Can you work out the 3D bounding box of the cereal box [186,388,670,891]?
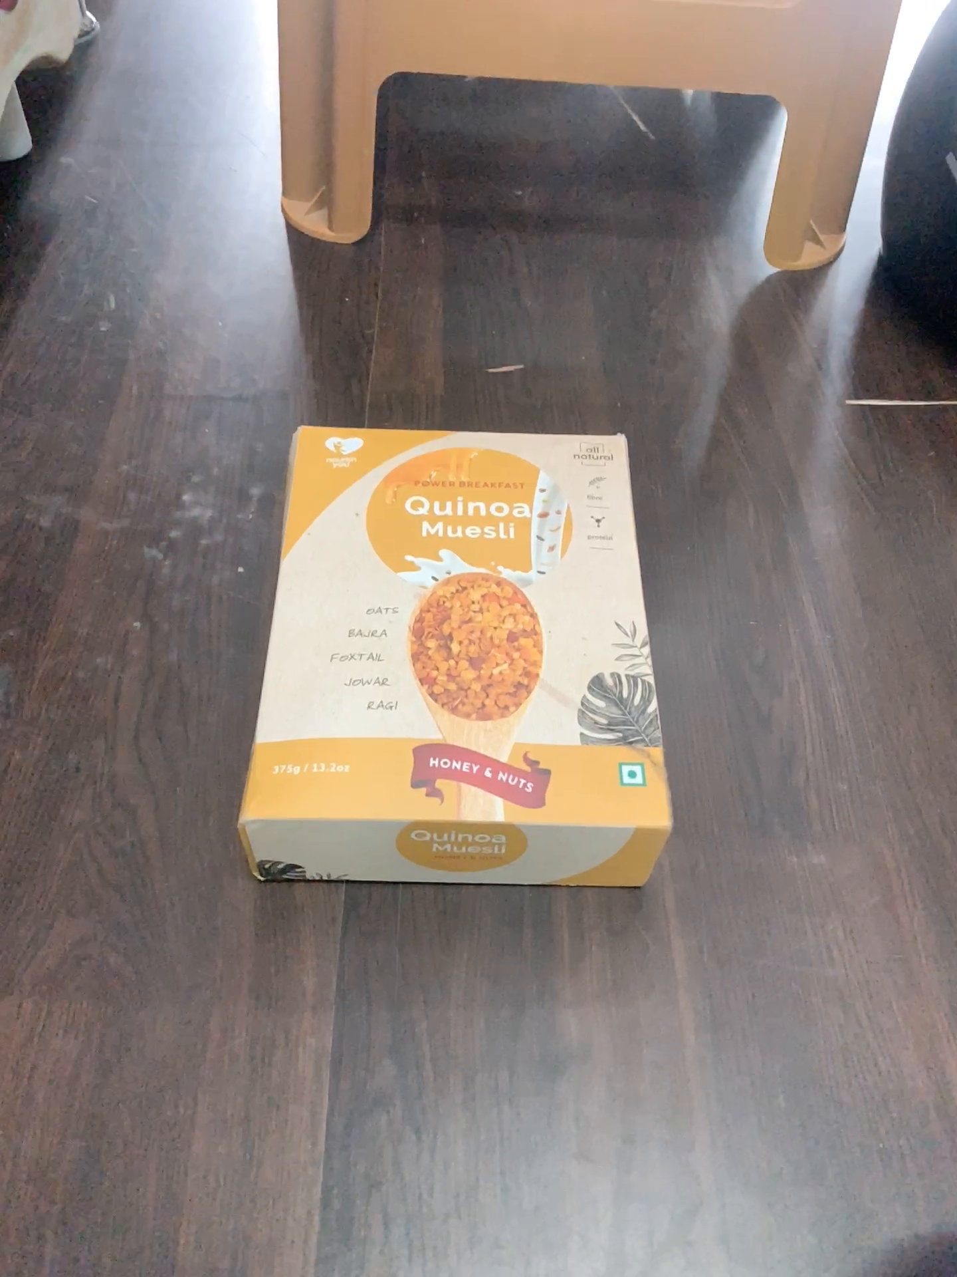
[{"bbox_3d":[-0.018,-0.008,0.431,0.170,0.060,0.221,1,56,-2],"label":"cereal box"}]
